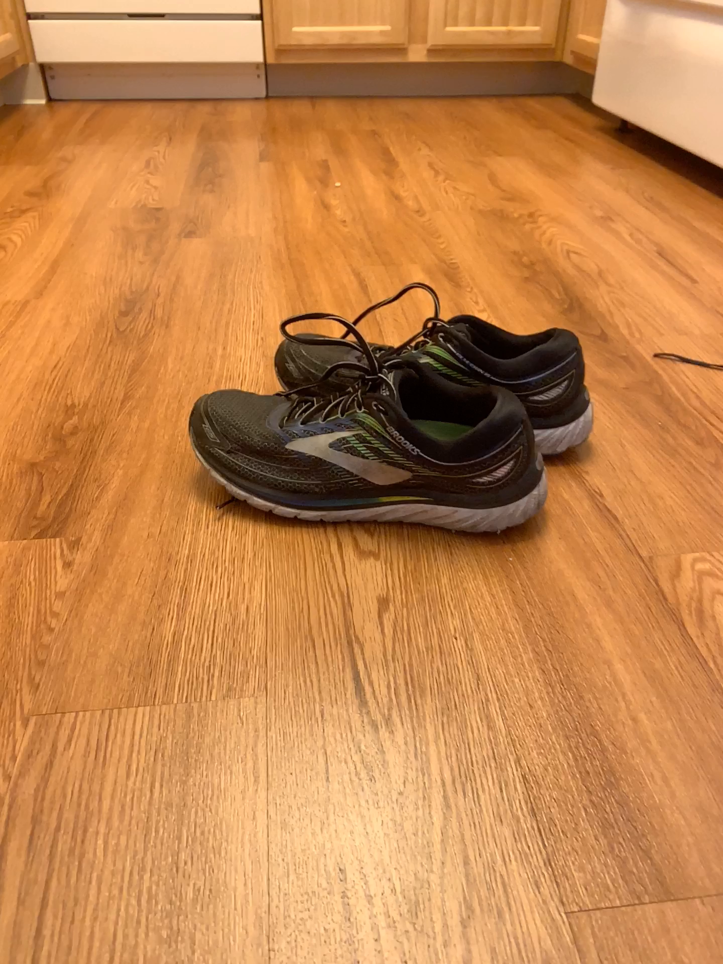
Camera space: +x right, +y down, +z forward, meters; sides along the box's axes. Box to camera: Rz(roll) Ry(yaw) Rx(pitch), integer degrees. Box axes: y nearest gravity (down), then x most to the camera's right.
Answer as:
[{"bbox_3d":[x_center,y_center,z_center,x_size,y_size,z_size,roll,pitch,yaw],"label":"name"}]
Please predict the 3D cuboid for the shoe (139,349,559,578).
[{"bbox_3d":[-0.006,-0.022,0.628,0.320,0.109,0.111,8,37,10],"label":"shoe"}]

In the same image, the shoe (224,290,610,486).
[{"bbox_3d":[0.053,-0.098,0.728,0.340,0.109,0.121,8,37,10],"label":"shoe"}]
